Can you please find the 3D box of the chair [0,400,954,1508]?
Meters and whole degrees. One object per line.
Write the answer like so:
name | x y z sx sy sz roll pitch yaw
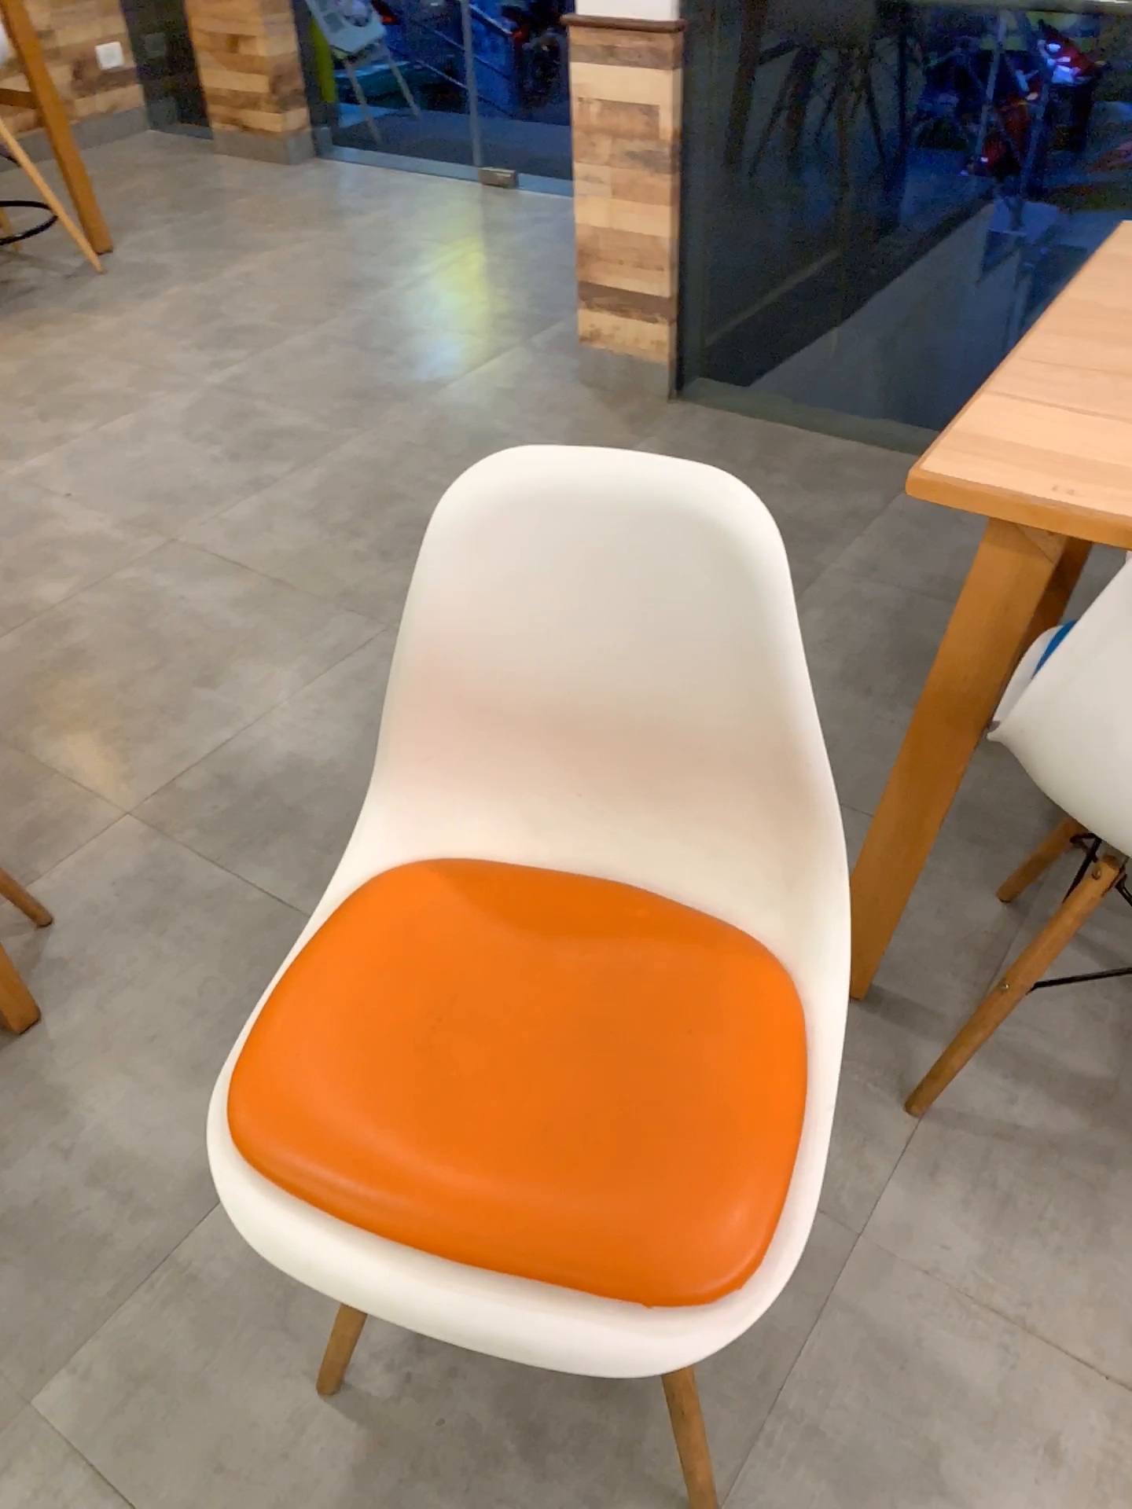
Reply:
chair | -0.011 0.187 0.891 0.441 0.723 0.454 11 41 16
